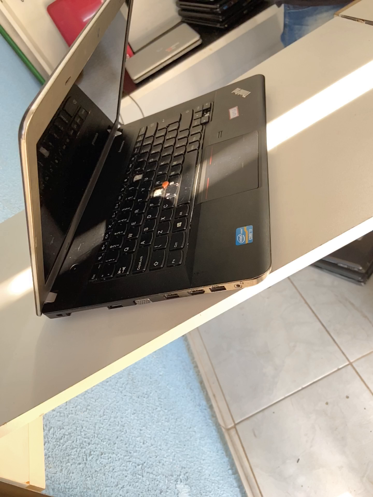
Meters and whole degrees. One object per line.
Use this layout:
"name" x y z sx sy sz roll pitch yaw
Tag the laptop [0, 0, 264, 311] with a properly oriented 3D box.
"laptop" -0.064 -0.136 0.395 0.230 0.165 0.332 -13 45 23
